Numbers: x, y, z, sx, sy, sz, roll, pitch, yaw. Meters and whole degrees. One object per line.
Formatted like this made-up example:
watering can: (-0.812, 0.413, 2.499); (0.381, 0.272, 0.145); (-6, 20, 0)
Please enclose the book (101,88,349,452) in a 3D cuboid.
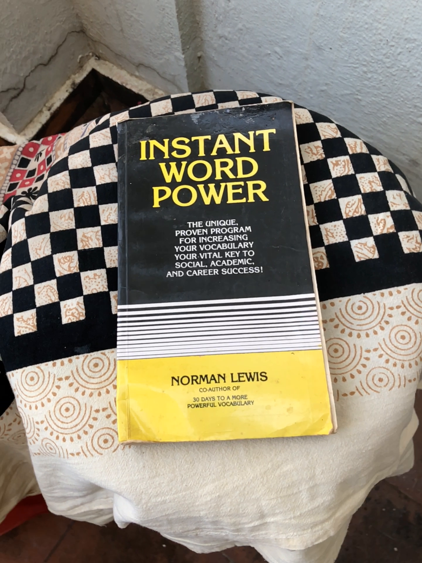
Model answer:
book: (0.002, -0.026, 0.385); (0.160, 0.040, 0.300); (-4, 65, 2)
